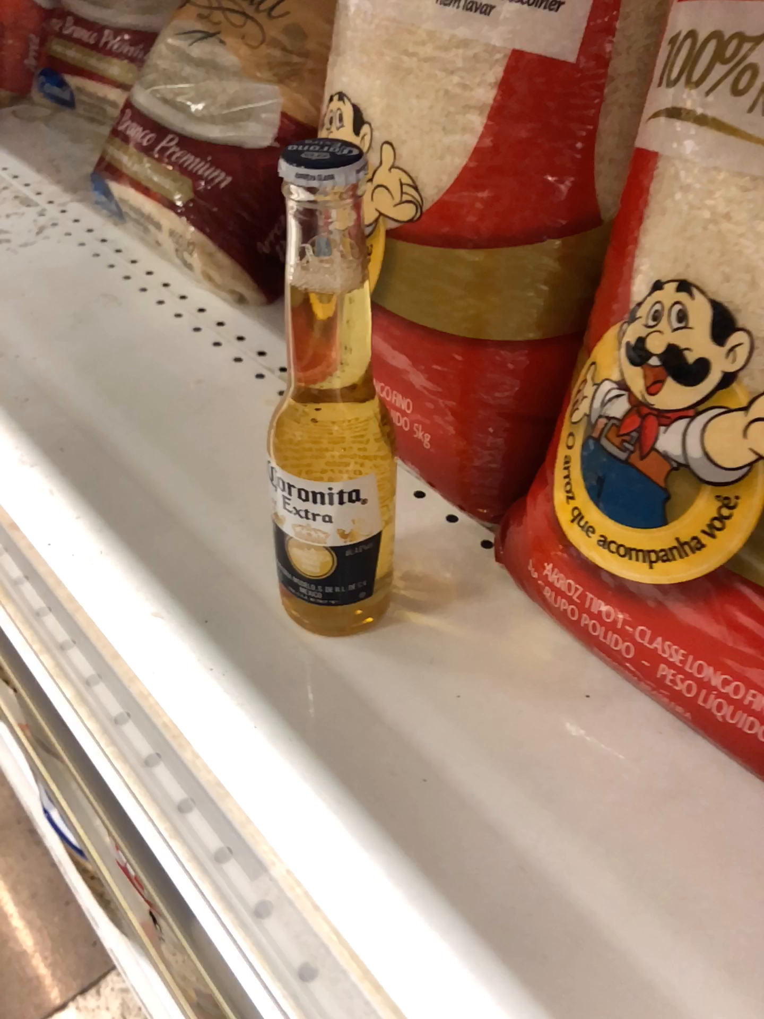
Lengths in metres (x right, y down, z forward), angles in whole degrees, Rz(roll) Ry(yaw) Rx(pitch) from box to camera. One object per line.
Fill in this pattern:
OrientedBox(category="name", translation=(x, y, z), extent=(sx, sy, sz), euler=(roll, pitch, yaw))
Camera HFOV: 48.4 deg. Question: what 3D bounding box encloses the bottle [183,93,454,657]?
OrientedBox(category="bottle", translation=(-0.017, -0.038, 0.320), extent=(0.060, 0.198, 0.060), euler=(0, 42, 0))
